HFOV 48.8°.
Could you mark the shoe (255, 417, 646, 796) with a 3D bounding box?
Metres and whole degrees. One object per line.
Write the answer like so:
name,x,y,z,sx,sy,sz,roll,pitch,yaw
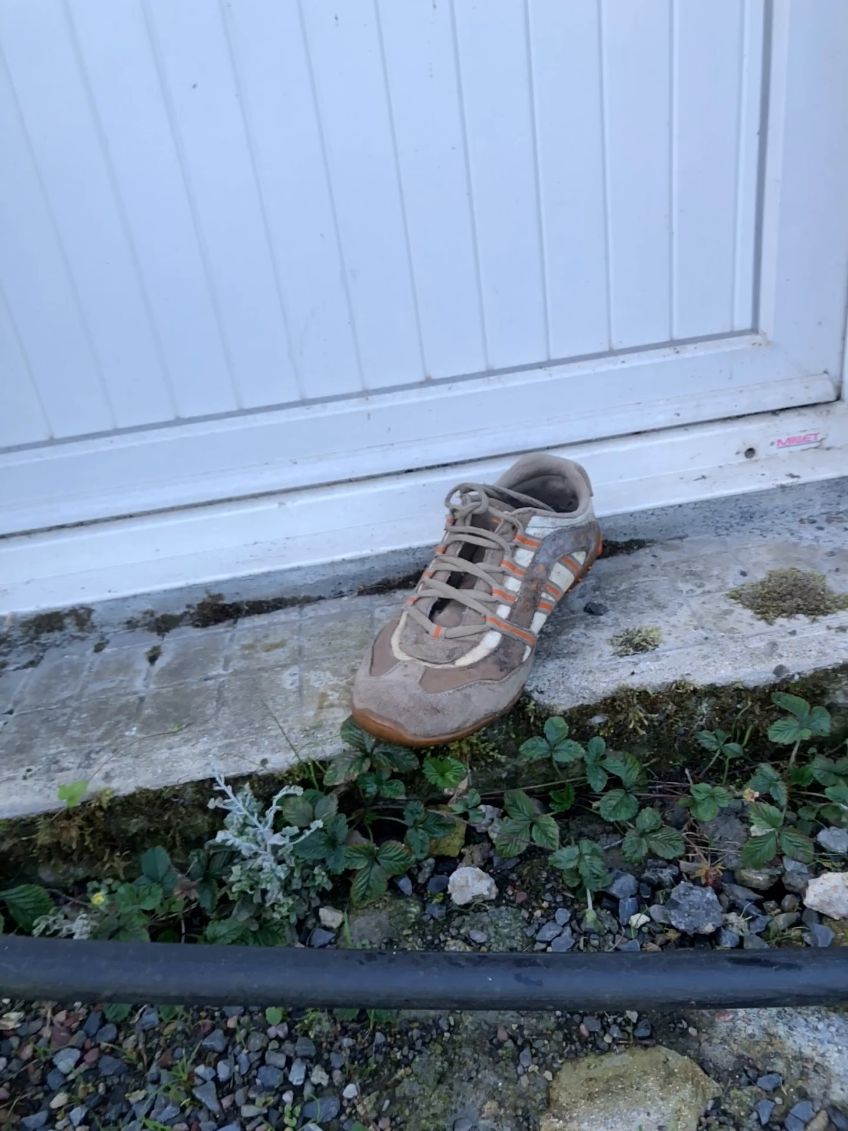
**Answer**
shoe,0.035,0.006,0.600,0.110,0.099,0.272,13,36,33
